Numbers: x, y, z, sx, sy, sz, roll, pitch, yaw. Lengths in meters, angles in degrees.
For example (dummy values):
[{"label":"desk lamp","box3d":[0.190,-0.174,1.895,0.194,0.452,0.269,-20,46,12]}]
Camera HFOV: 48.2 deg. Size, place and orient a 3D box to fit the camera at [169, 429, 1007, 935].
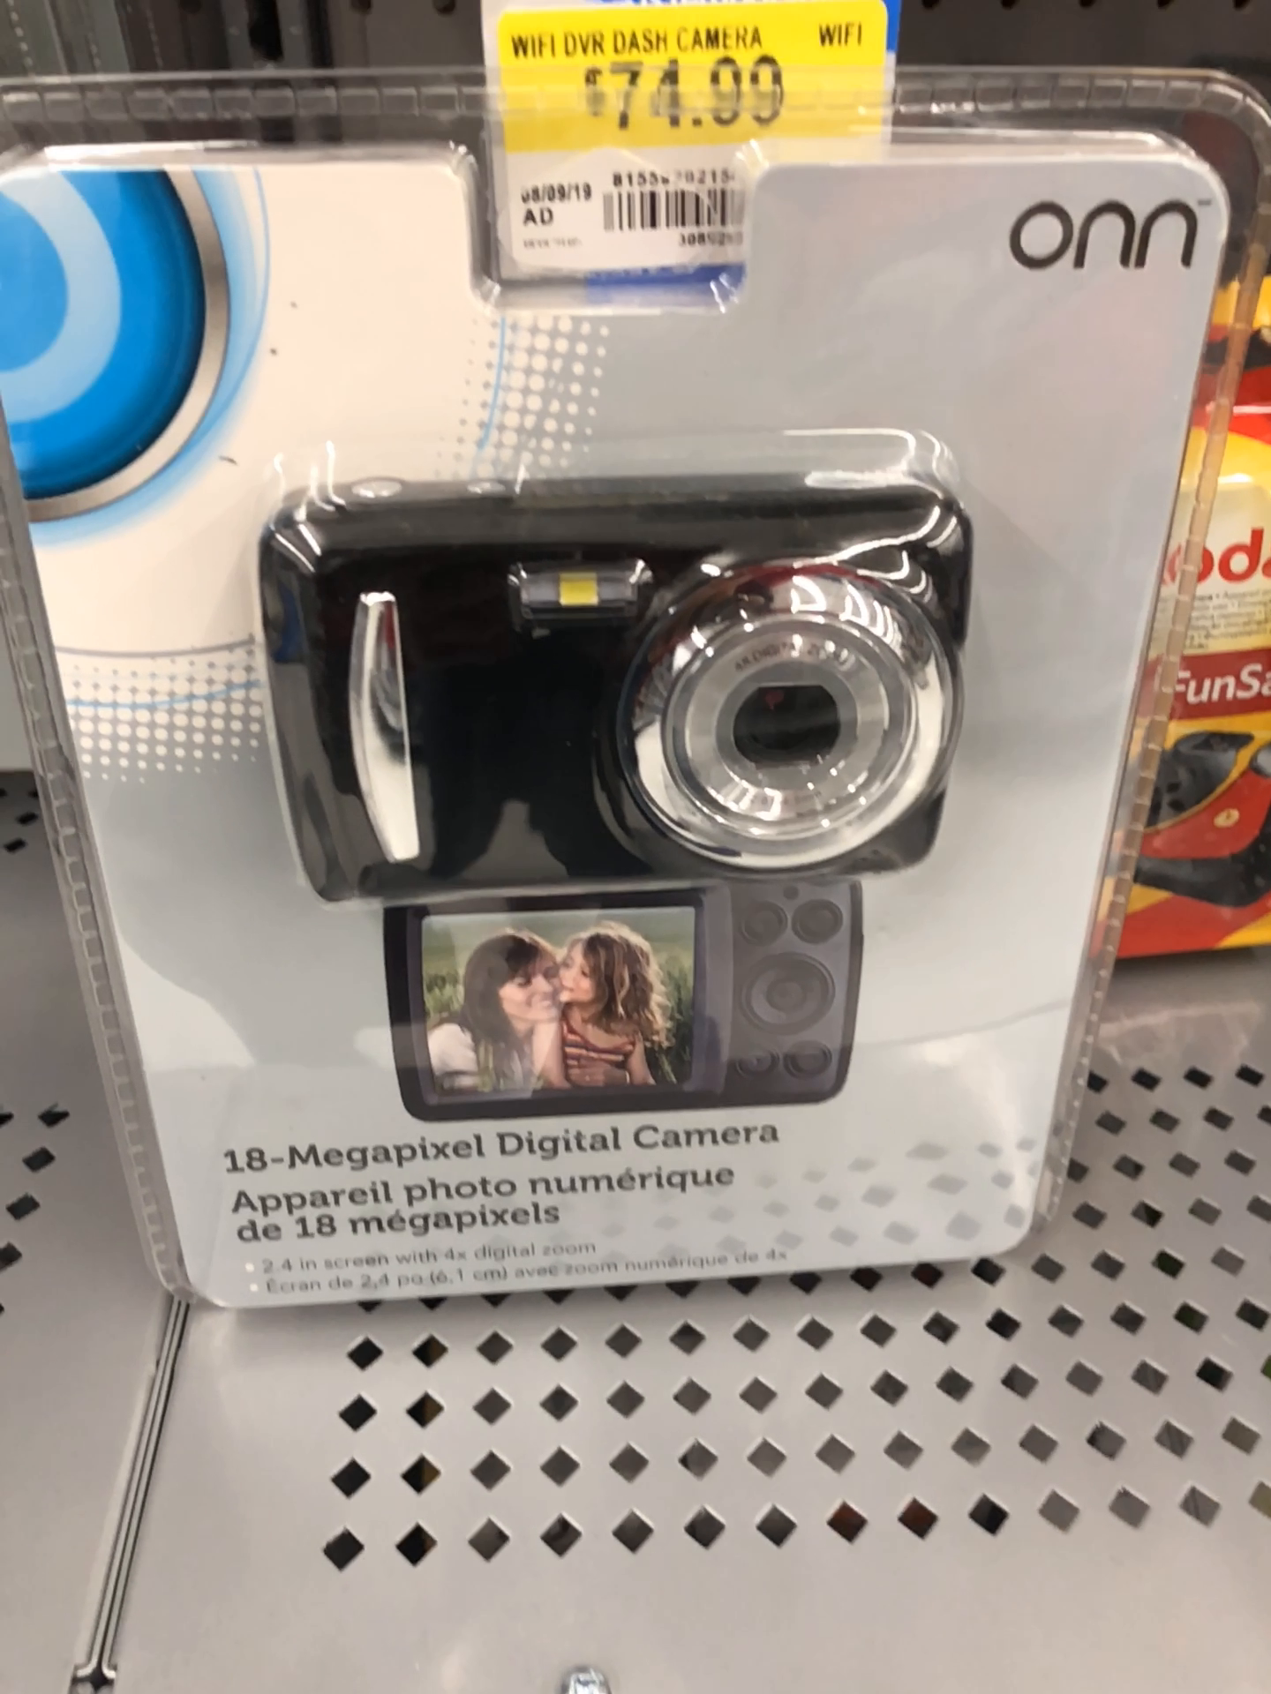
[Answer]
[{"label":"camera","box3d":[-0.006,-0.023,0.198,0.100,0.060,0.030,-2,33,-3]}]
